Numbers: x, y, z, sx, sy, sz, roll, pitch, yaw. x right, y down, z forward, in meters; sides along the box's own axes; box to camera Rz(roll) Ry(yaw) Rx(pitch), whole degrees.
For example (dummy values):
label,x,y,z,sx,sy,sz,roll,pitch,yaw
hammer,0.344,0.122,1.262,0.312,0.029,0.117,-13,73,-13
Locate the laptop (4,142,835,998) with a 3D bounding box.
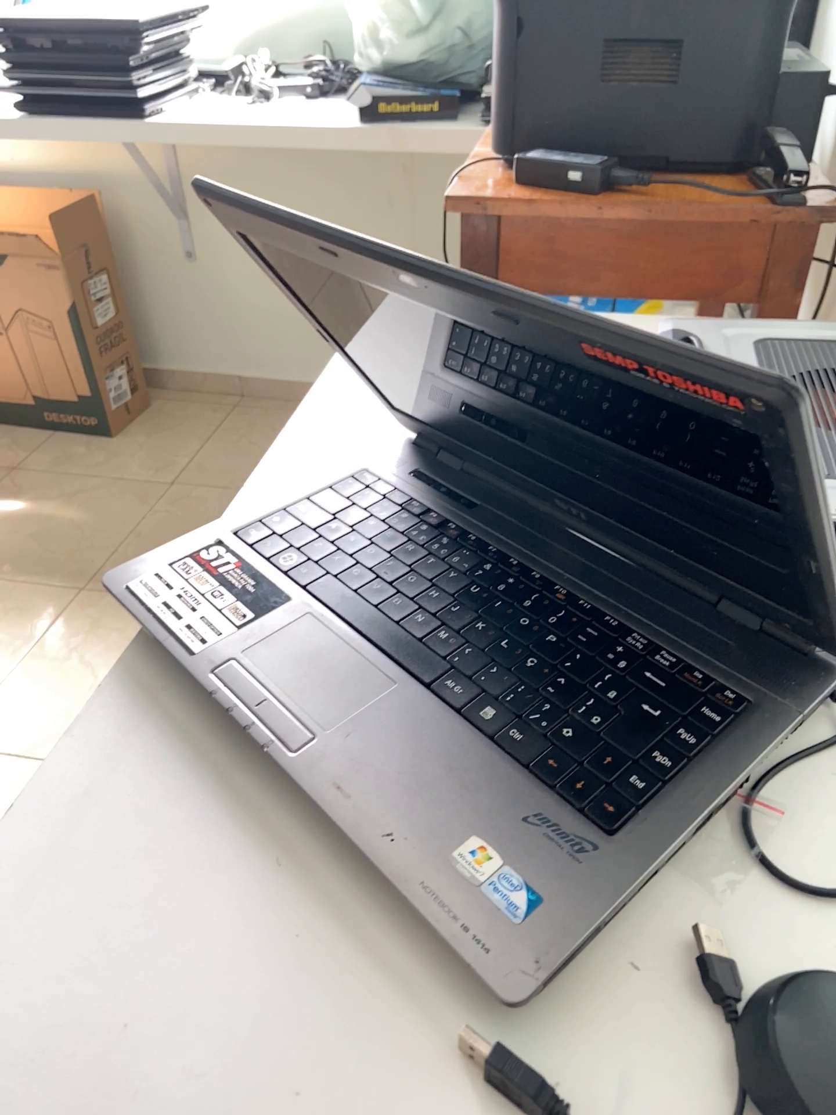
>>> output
label,x,y,z,sx,sy,sz,roll,pitch,yaw
laptop,0.010,-0.047,0.422,0.242,0.200,0.343,-29,45,-31
